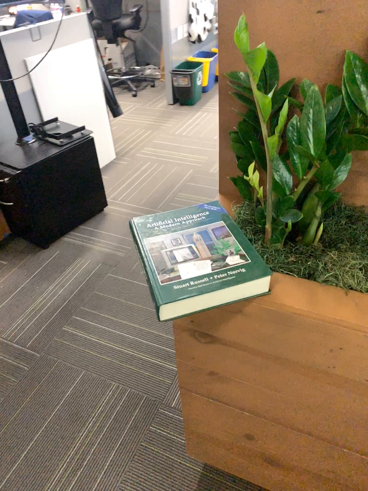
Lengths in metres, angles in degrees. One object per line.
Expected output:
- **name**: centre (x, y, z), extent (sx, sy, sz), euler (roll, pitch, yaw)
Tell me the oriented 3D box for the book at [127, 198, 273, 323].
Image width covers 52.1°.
- **book**: centre (0.017, 0.012, 0.744), extent (0.210, 0.050, 0.262), euler (-13, 40, -11)
